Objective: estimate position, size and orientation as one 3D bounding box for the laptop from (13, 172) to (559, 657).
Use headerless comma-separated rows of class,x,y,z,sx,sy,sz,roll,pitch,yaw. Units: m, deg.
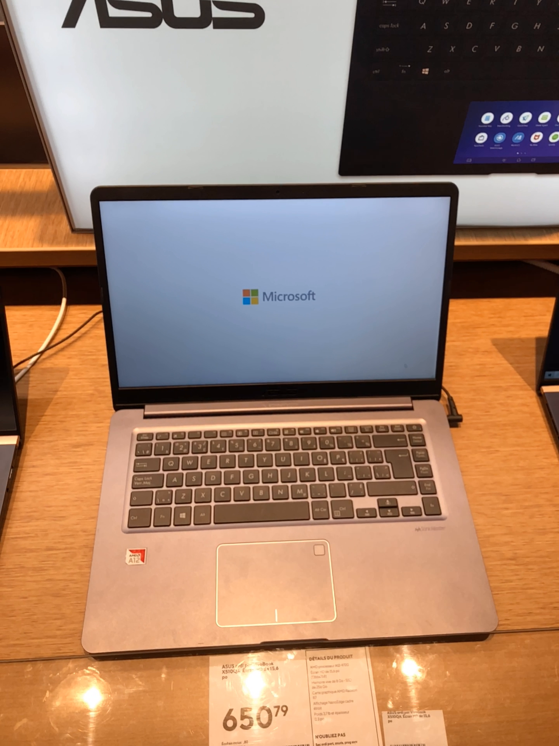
laptop,0.003,0.017,0.563,0.352,0.177,0.391,-2,55,-3
